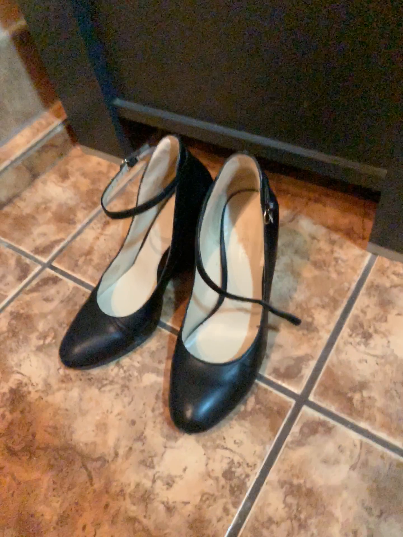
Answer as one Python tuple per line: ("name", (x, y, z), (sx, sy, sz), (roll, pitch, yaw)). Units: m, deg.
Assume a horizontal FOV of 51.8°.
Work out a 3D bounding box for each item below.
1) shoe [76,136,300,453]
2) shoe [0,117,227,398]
("shoe", (0.011, 0.017, 0.347), (0.087, 0.140, 0.210), (13, 56, 18))
("shoe", (-0.071, -0.009, 0.392), (0.079, 0.159, 0.200), (28, 62, 26))
